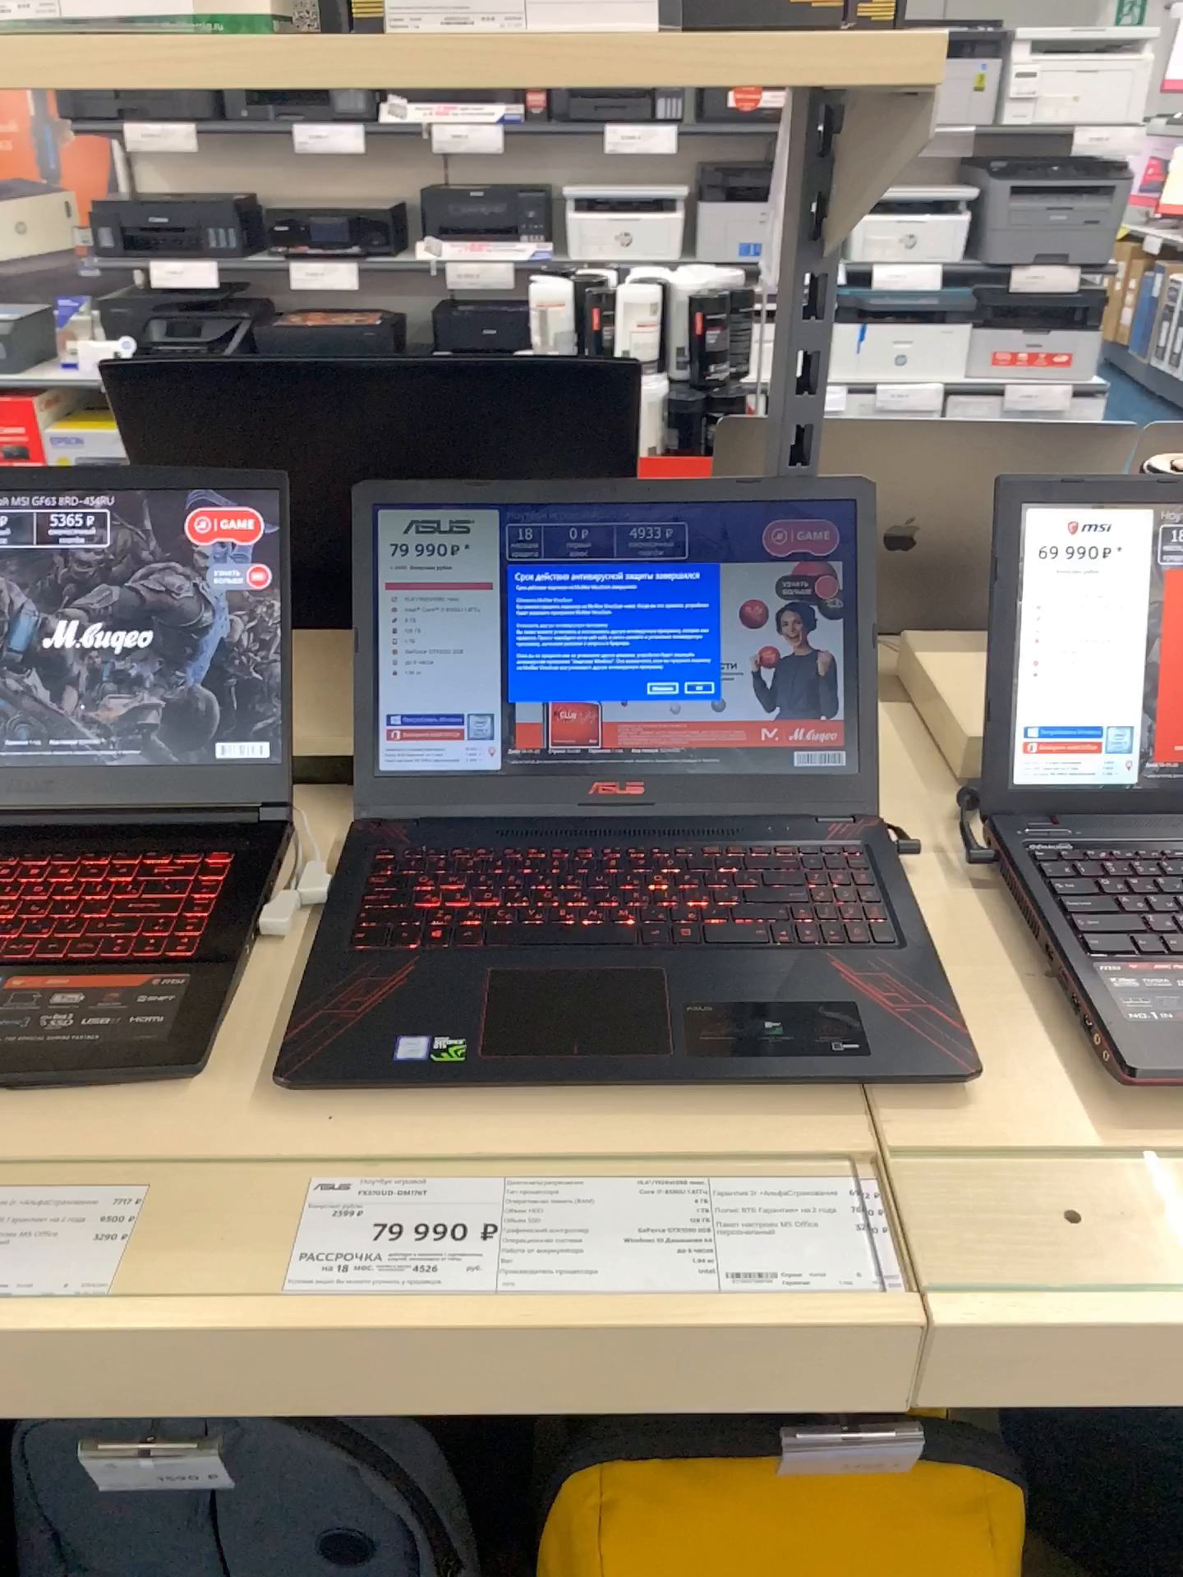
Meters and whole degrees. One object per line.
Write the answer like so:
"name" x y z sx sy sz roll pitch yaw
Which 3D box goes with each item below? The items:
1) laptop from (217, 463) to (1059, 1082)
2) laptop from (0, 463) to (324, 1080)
"laptop" 0.019 -0.039 0.737 0.365 0.199 0.384 -1 31 0
"laptop" -0.375 -0.037 0.723 0.338 0.209 0.355 0 31 -1
